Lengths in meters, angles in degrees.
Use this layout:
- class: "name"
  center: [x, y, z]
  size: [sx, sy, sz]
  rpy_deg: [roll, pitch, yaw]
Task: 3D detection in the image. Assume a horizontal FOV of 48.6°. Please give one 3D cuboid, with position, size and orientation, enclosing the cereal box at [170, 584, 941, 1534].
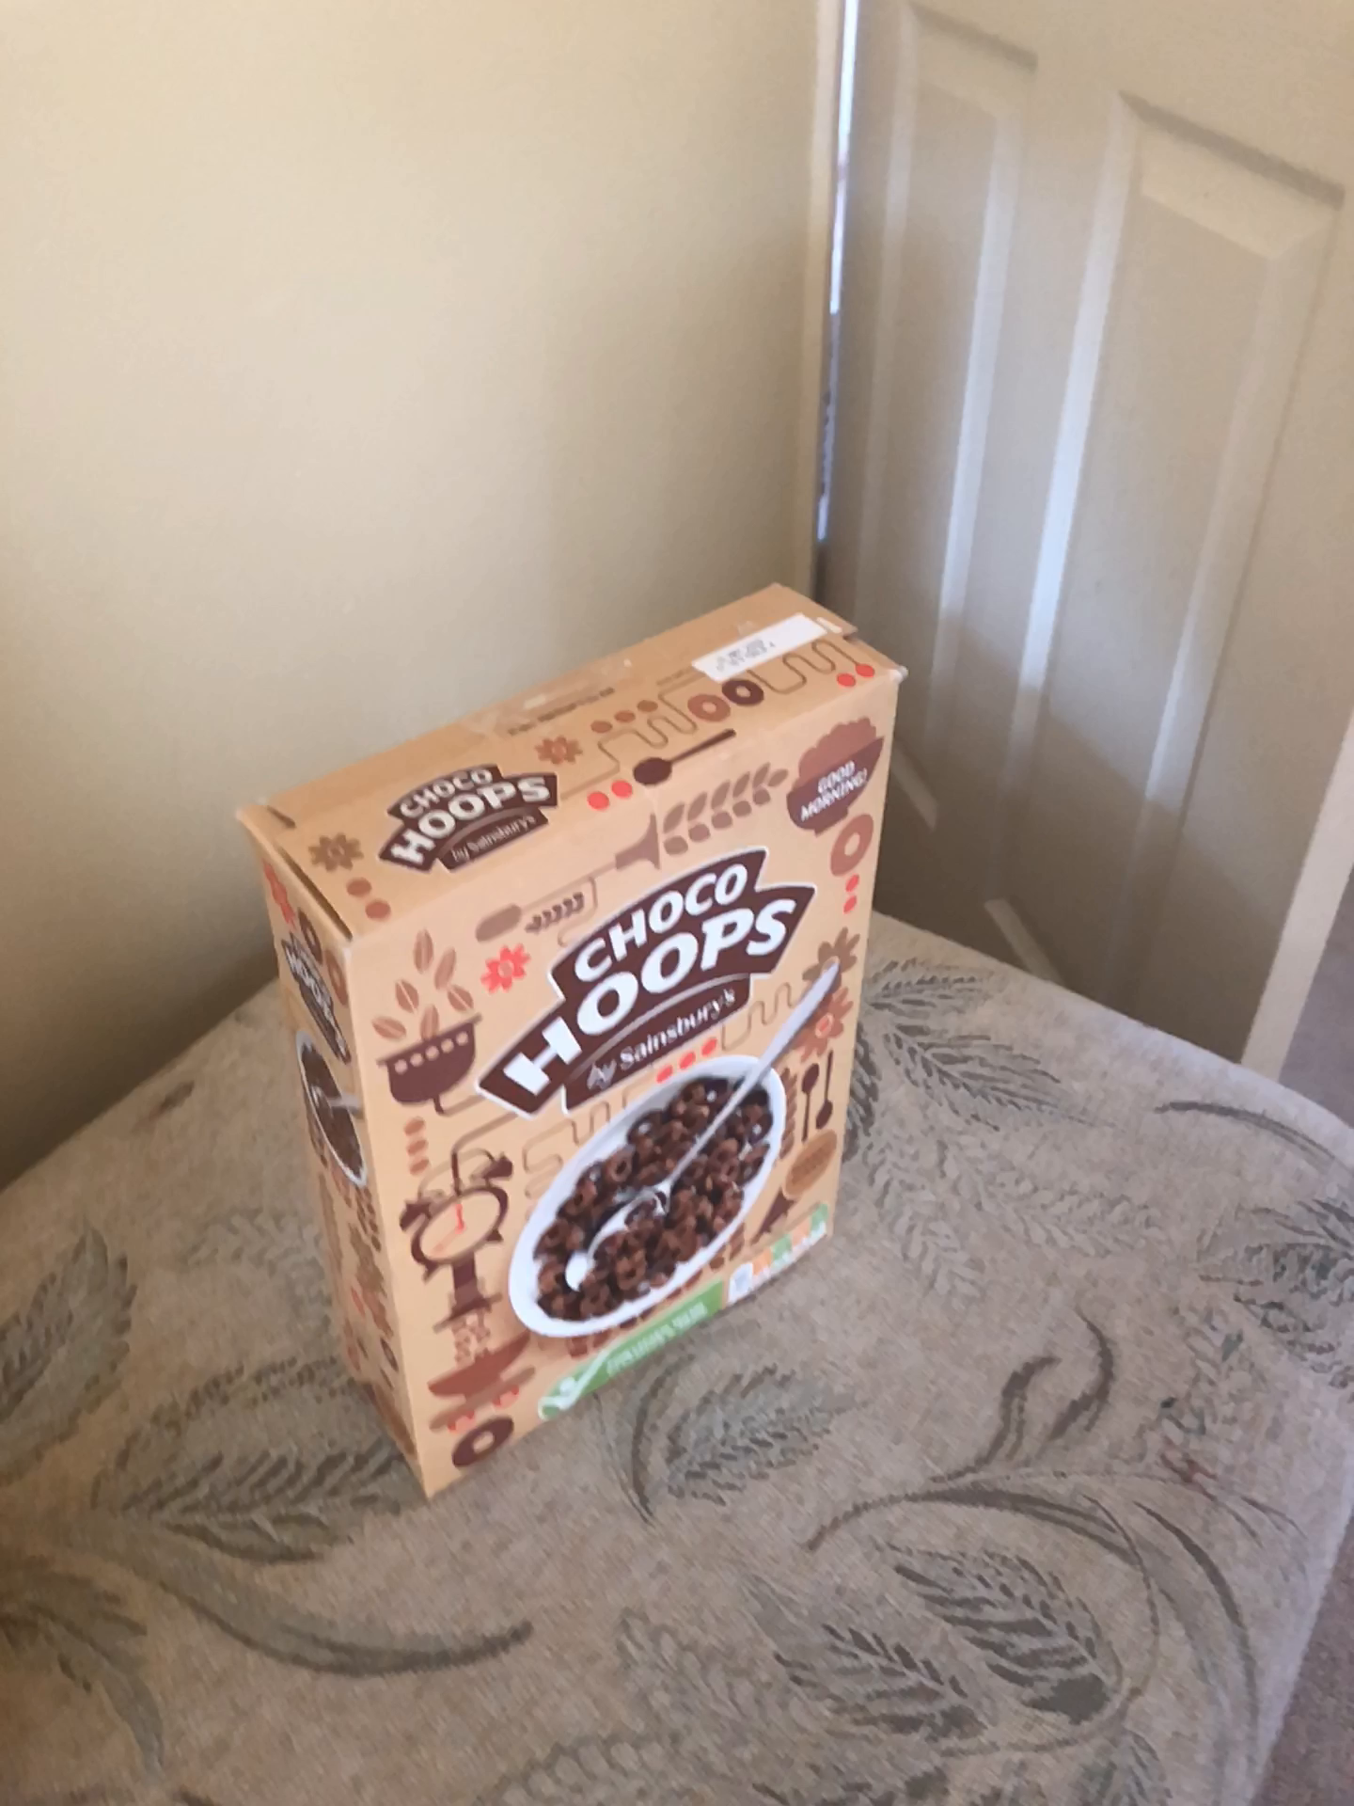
- class: "cereal box"
  center: [-0.028, 0.055, 0.508]
  size: [0.211, 0.258, 0.080]
  rpy_deg: [-27, 47, -29]
